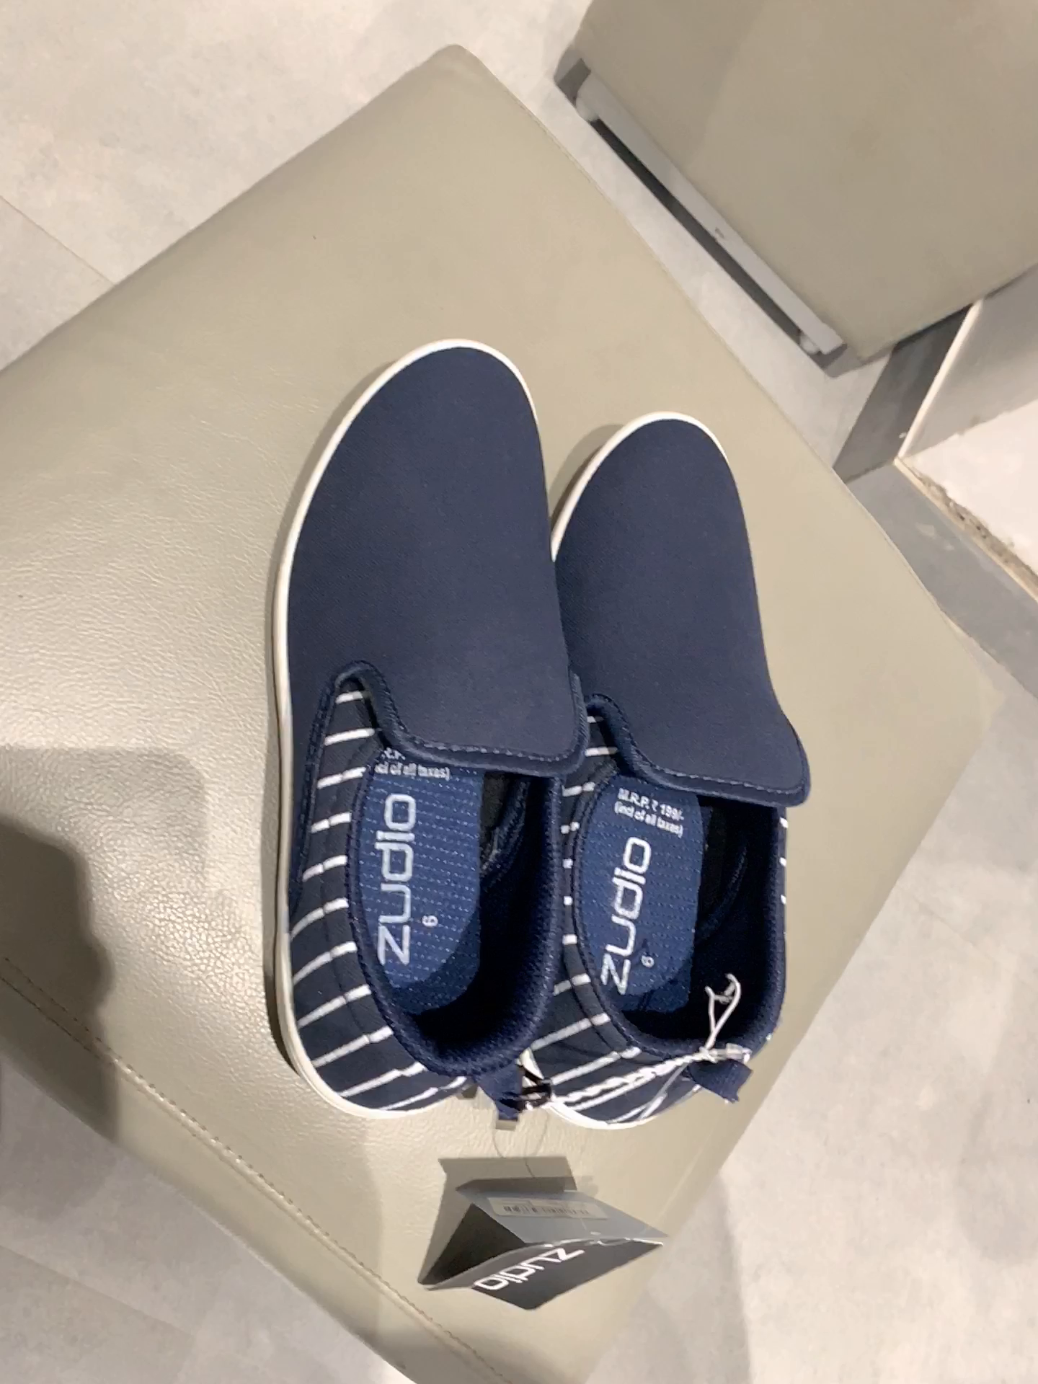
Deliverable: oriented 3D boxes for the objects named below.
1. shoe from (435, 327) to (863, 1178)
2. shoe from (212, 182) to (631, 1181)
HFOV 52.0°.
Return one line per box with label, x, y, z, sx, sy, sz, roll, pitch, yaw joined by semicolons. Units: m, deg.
shoe;0.049;0.023;0.394;0.100;0.090;0.270;12;78;-23
shoe;-0.032;-0.002;0.355;0.100;0.090;0.280;6;80;-24
